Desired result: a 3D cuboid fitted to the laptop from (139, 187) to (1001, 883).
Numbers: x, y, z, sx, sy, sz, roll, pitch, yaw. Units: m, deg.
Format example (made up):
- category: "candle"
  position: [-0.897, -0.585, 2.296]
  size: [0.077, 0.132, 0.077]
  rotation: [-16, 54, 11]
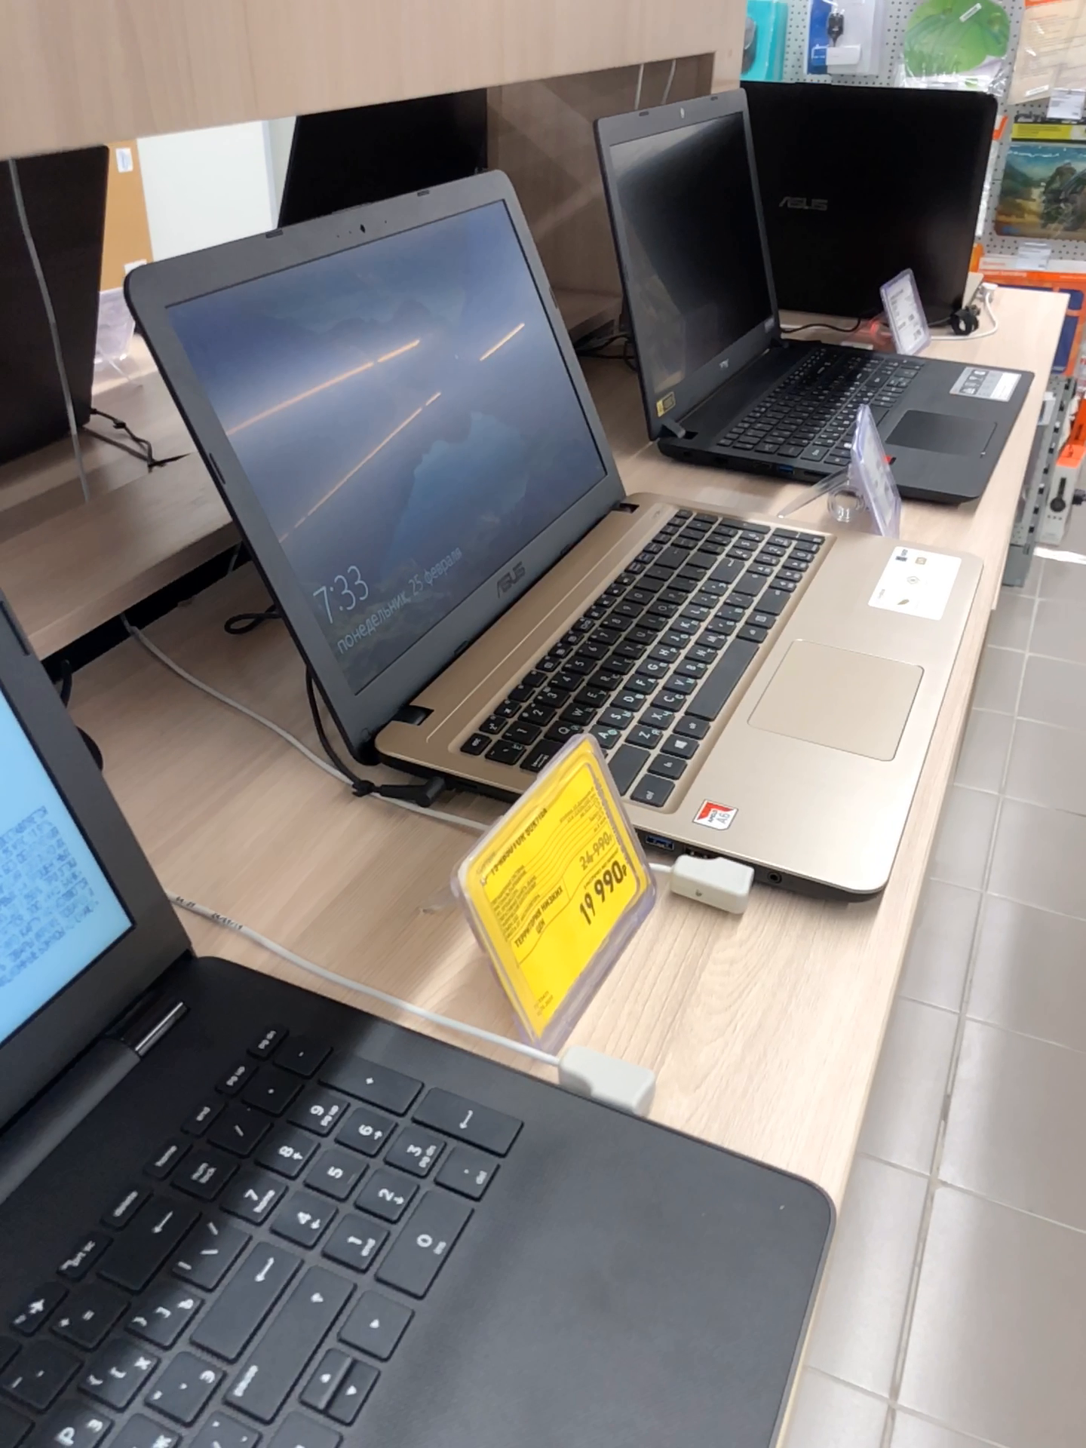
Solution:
- category: "laptop"
  position: [0.045, -0.151, 0.673]
  size: [0.350, 0.208, 0.368]
  rotation: [14, 33, 18]
